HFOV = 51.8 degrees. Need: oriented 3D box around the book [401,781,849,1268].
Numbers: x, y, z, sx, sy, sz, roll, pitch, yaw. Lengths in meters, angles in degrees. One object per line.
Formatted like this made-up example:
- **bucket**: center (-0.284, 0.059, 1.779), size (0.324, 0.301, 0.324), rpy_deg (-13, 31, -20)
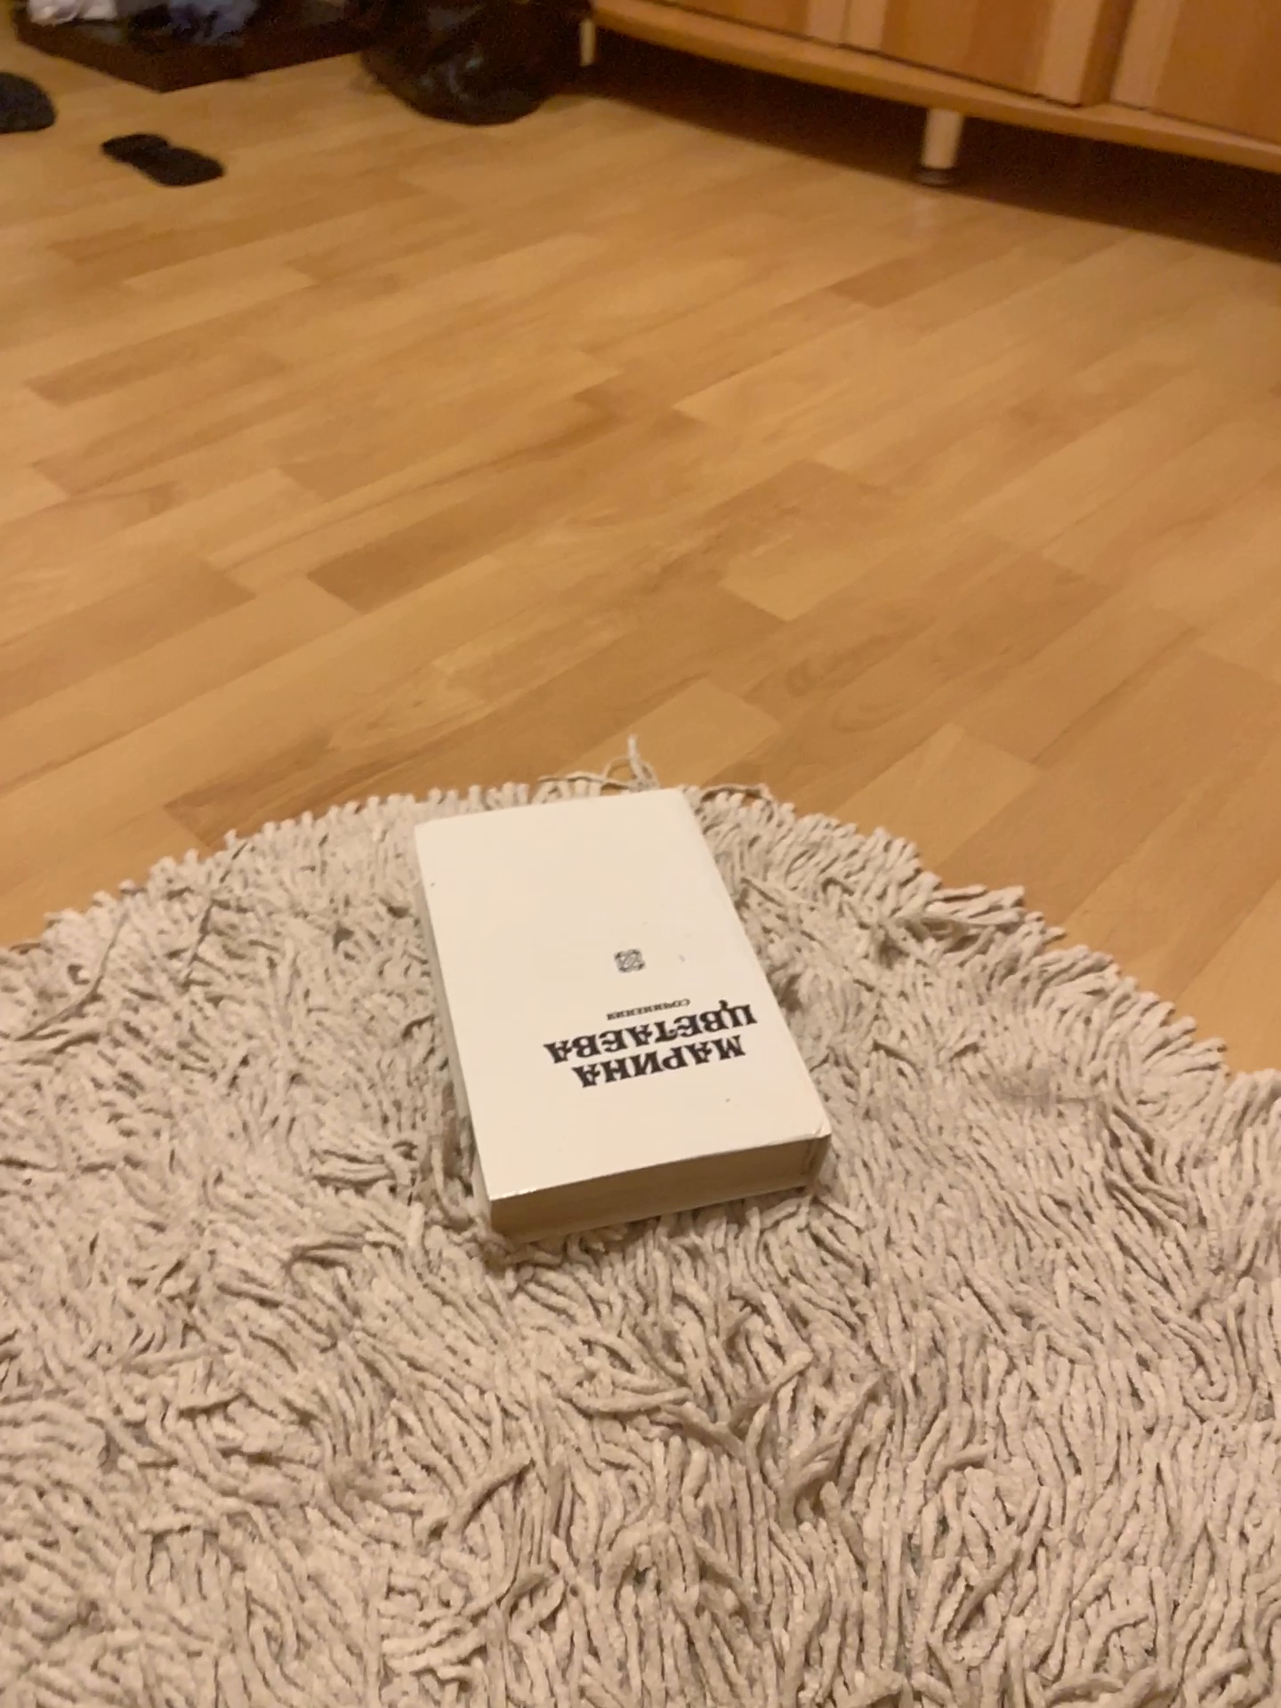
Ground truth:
- **book**: center (-0.017, 0.059, 0.566), size (0.140, 0.040, 0.209), rpy_deg (-9, 44, -12)
